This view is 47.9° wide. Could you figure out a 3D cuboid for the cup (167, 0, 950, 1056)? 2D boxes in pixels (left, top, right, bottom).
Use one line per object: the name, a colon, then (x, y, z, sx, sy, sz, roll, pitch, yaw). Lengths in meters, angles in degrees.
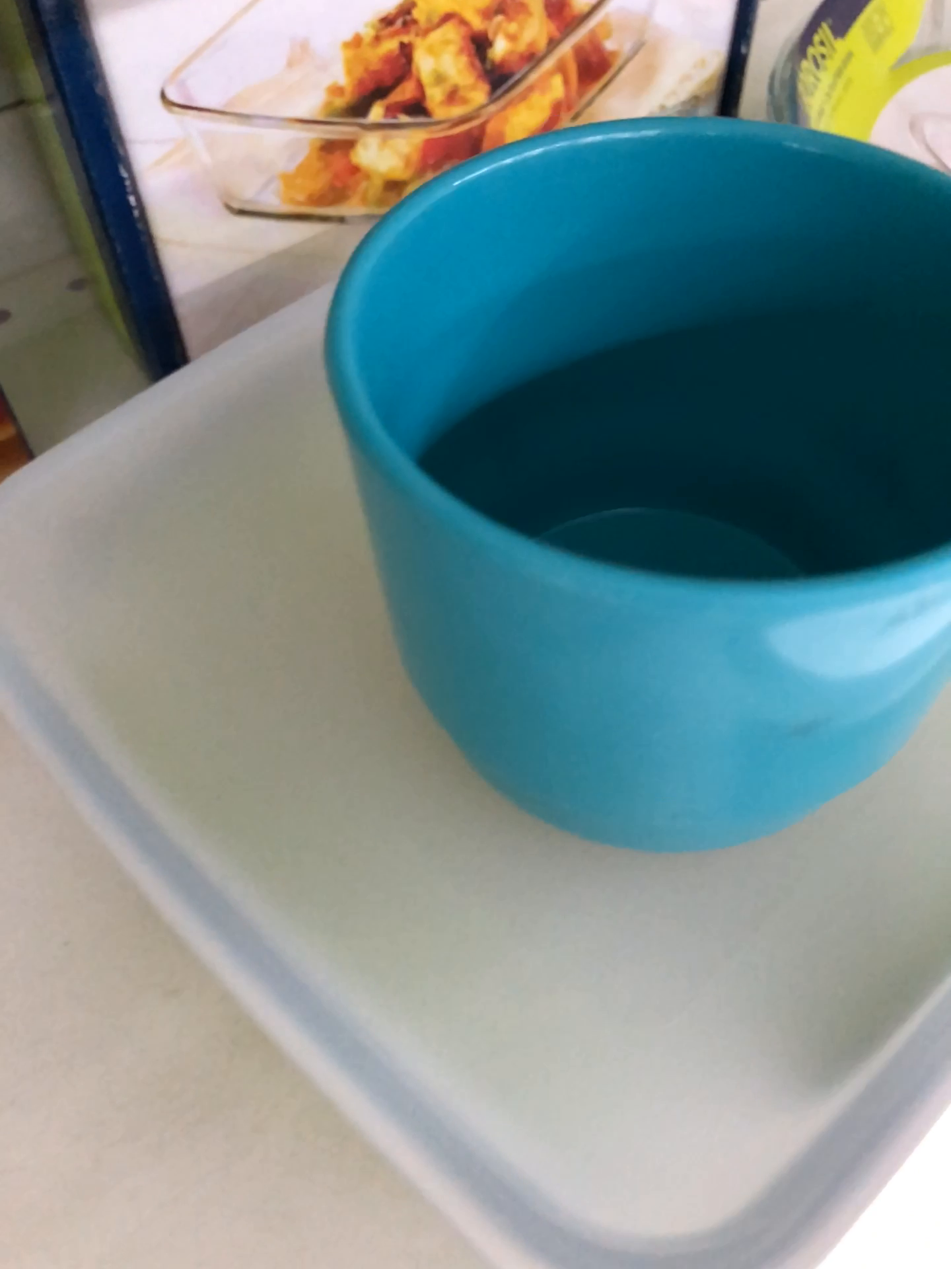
cup: (0.040, -0.026, 0.147, 0.120, 0.070, 0.090, -28, 57, -19)
